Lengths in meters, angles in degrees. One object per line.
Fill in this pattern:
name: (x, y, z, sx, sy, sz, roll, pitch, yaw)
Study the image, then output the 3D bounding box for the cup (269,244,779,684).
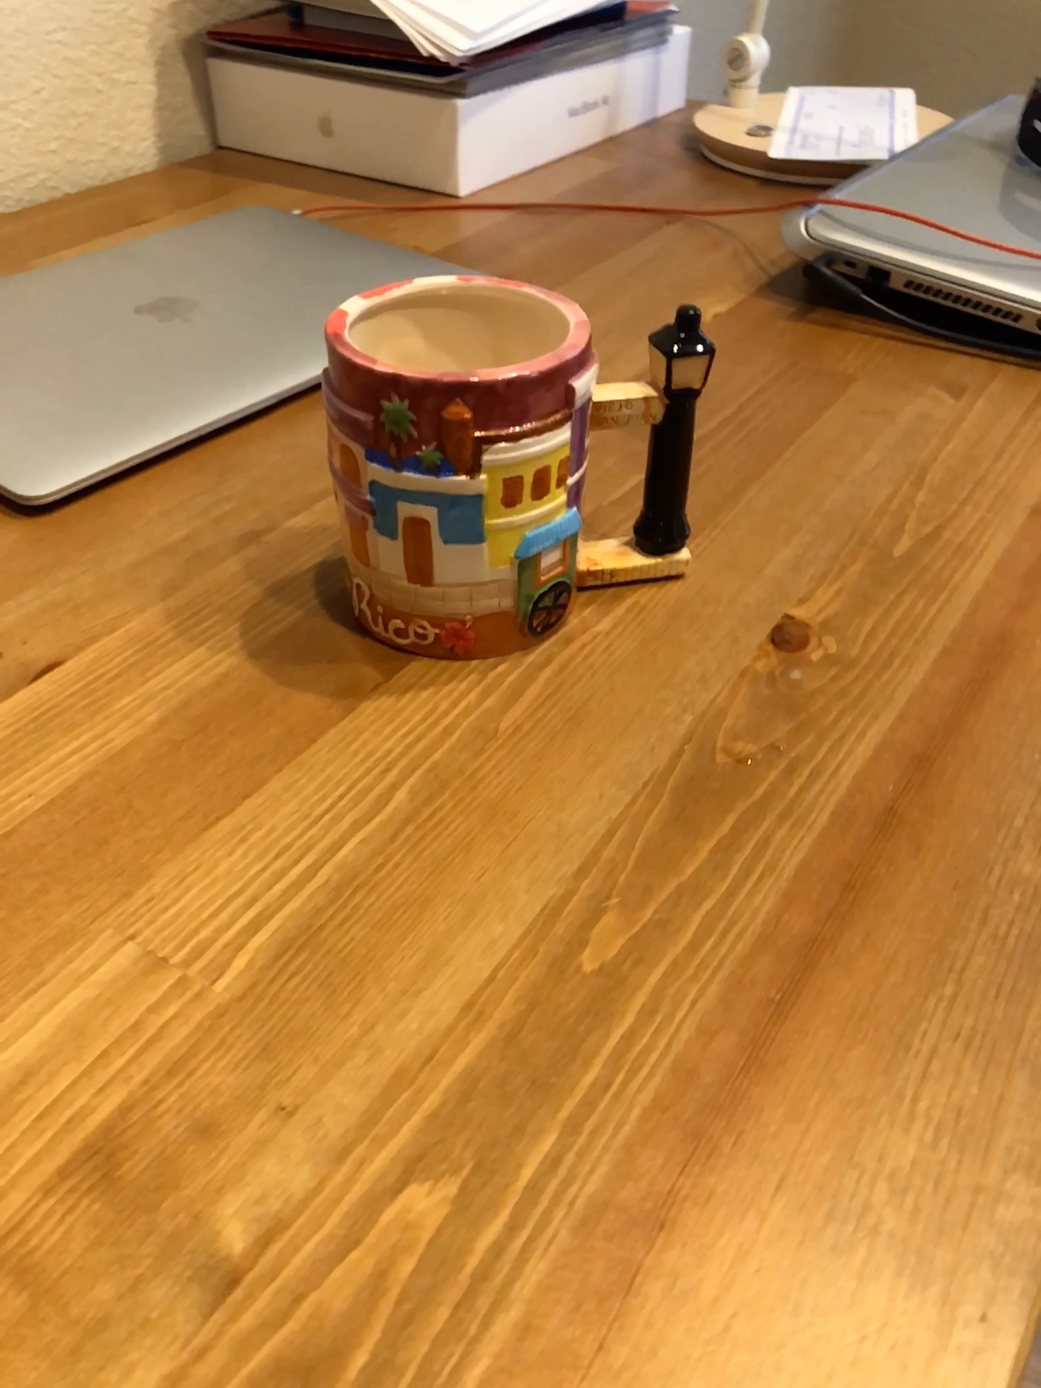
cup: (-0.001, -0.081, 0.383, 0.130, 0.090, 0.090, -16, 41, -19)
